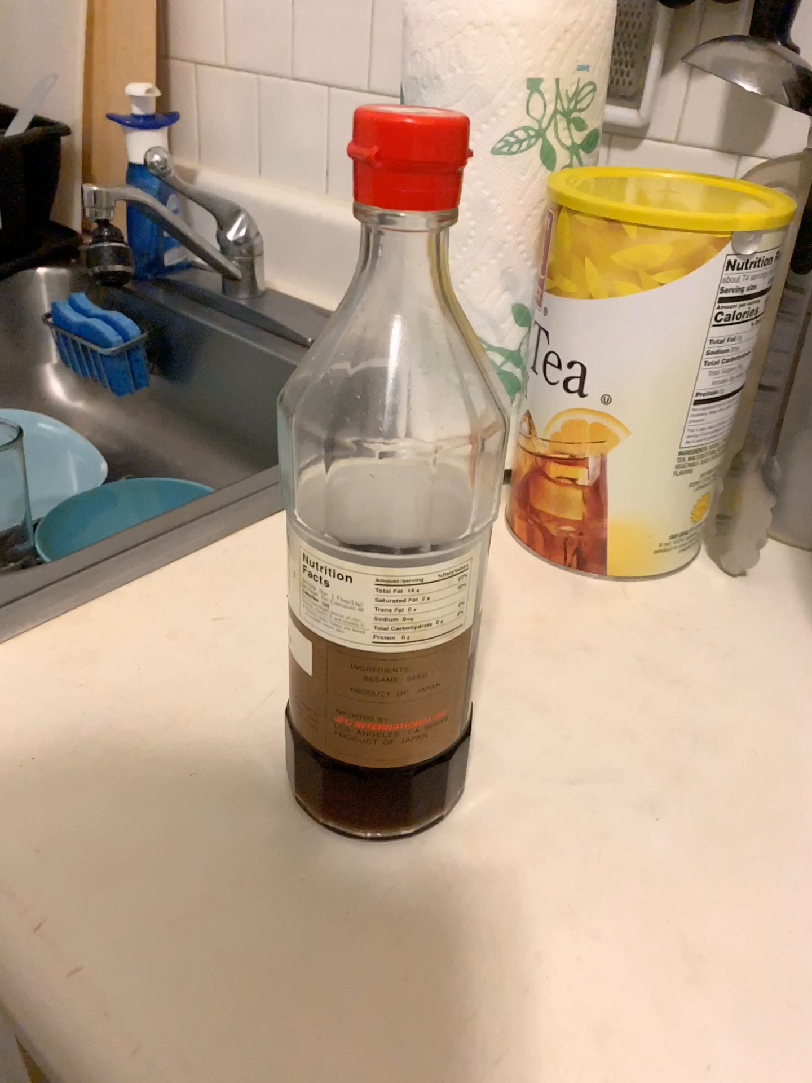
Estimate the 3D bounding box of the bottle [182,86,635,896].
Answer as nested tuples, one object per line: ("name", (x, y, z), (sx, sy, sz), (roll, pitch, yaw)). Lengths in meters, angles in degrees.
("bottle", (-0.004, -0.009, 0.300), (0.090, 0.258, 0.090), (3, 33, -2))
